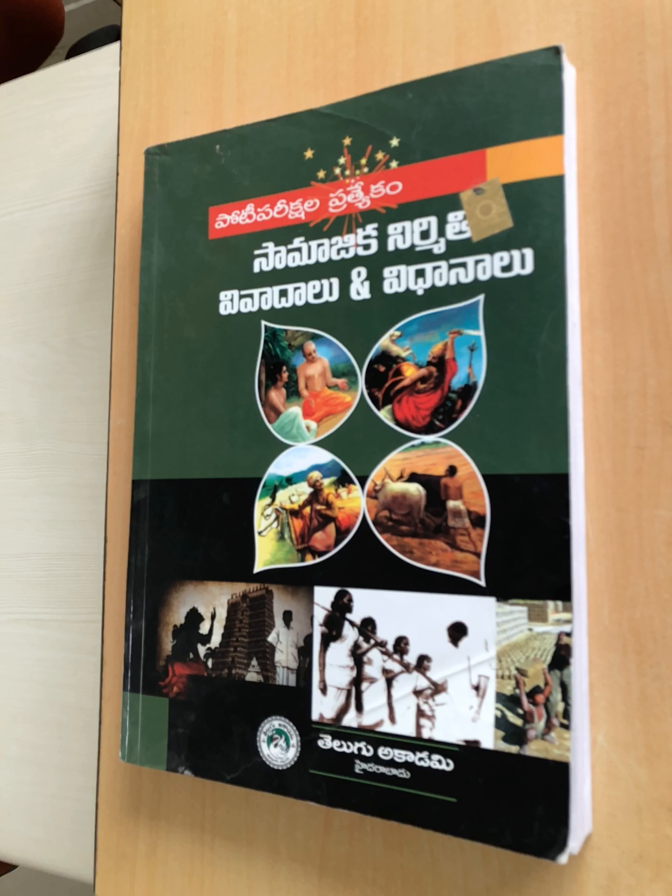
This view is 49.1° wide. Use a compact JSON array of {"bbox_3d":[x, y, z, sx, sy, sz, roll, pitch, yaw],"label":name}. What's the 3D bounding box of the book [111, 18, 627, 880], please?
[{"bbox_3d":[0.008,-0.003,0.292,0.190,0.050,0.270,-2,83,25],"label":"book"}]
